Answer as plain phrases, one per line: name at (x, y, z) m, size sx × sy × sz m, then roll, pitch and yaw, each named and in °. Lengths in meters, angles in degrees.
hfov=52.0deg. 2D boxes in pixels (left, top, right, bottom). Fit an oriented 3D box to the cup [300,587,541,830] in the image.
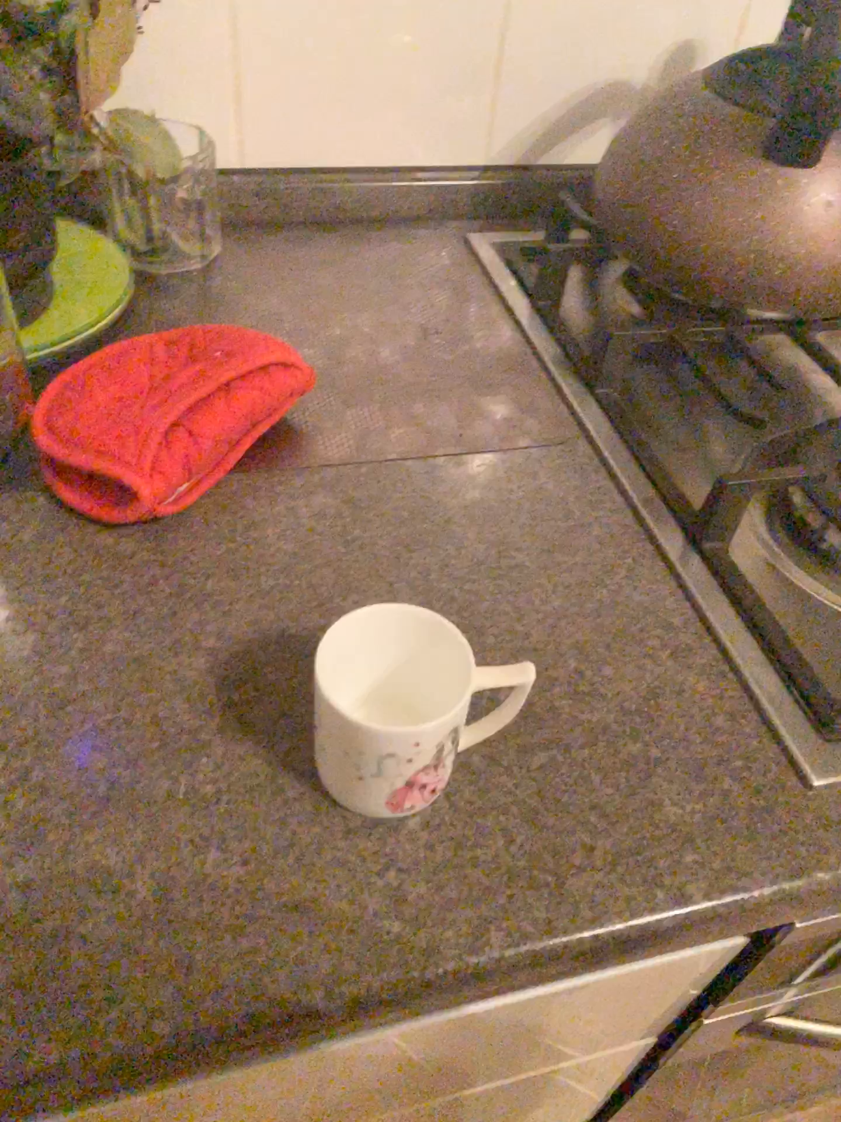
cup at (-0.003, 0.057, 0.330) m, size 0.080 × 0.069 × 0.061 m, roll 2°, pitch 44°, yaw -4°
